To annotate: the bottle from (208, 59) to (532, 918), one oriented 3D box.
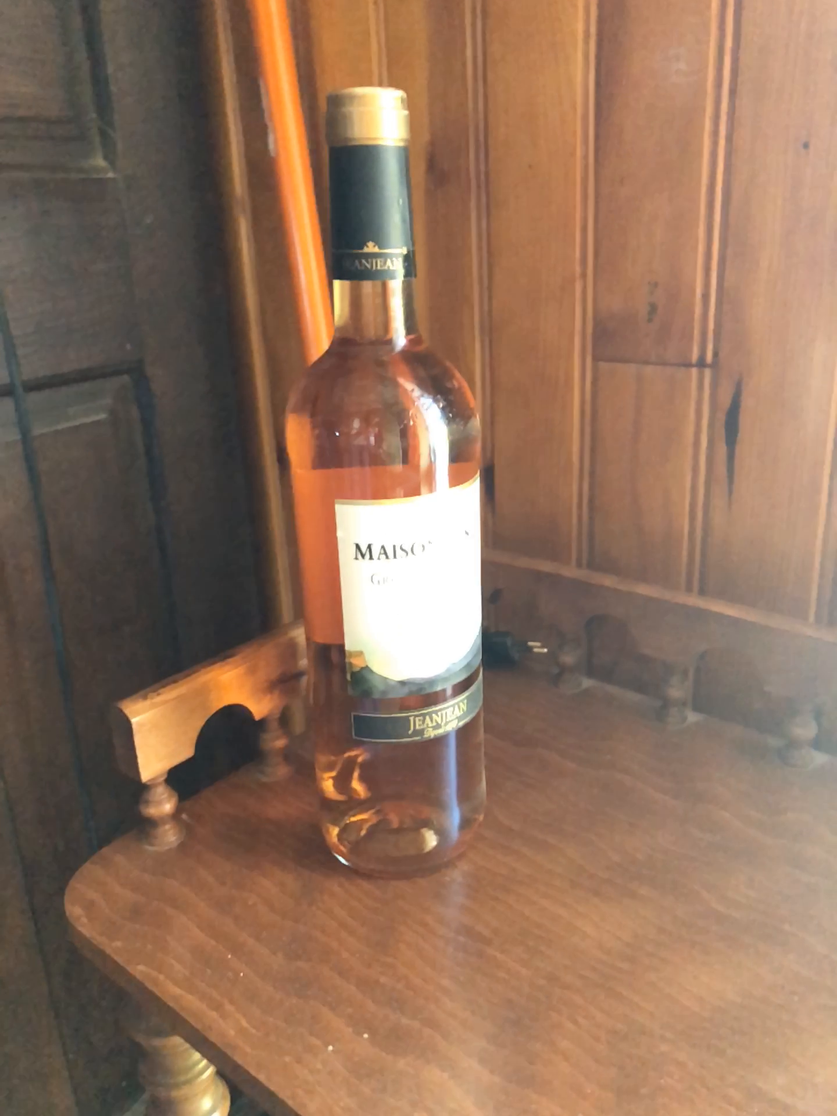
[{"bbox_3d":[-0.011,-0.018,0.347,0.080,0.289,0.070,-15,24,-30],"label":"bottle"}]
